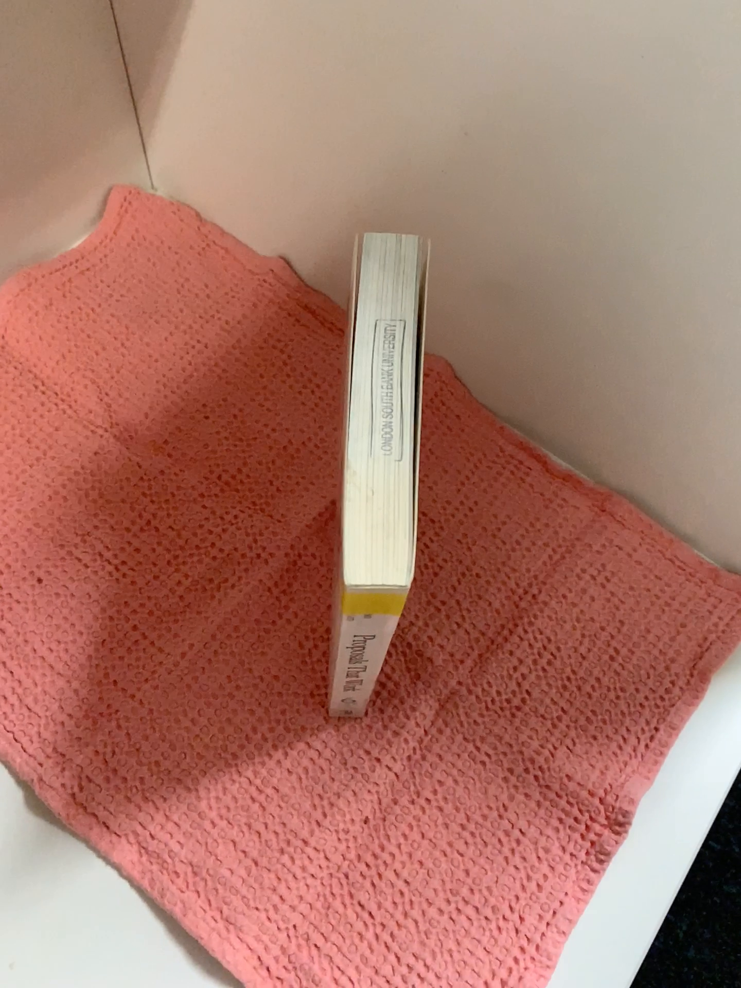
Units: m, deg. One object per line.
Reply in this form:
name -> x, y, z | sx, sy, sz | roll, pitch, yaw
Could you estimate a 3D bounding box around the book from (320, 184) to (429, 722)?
book -> -0.002, 0.002, 0.391 | 0.030, 0.239, 0.181 | 4, 63, -3
